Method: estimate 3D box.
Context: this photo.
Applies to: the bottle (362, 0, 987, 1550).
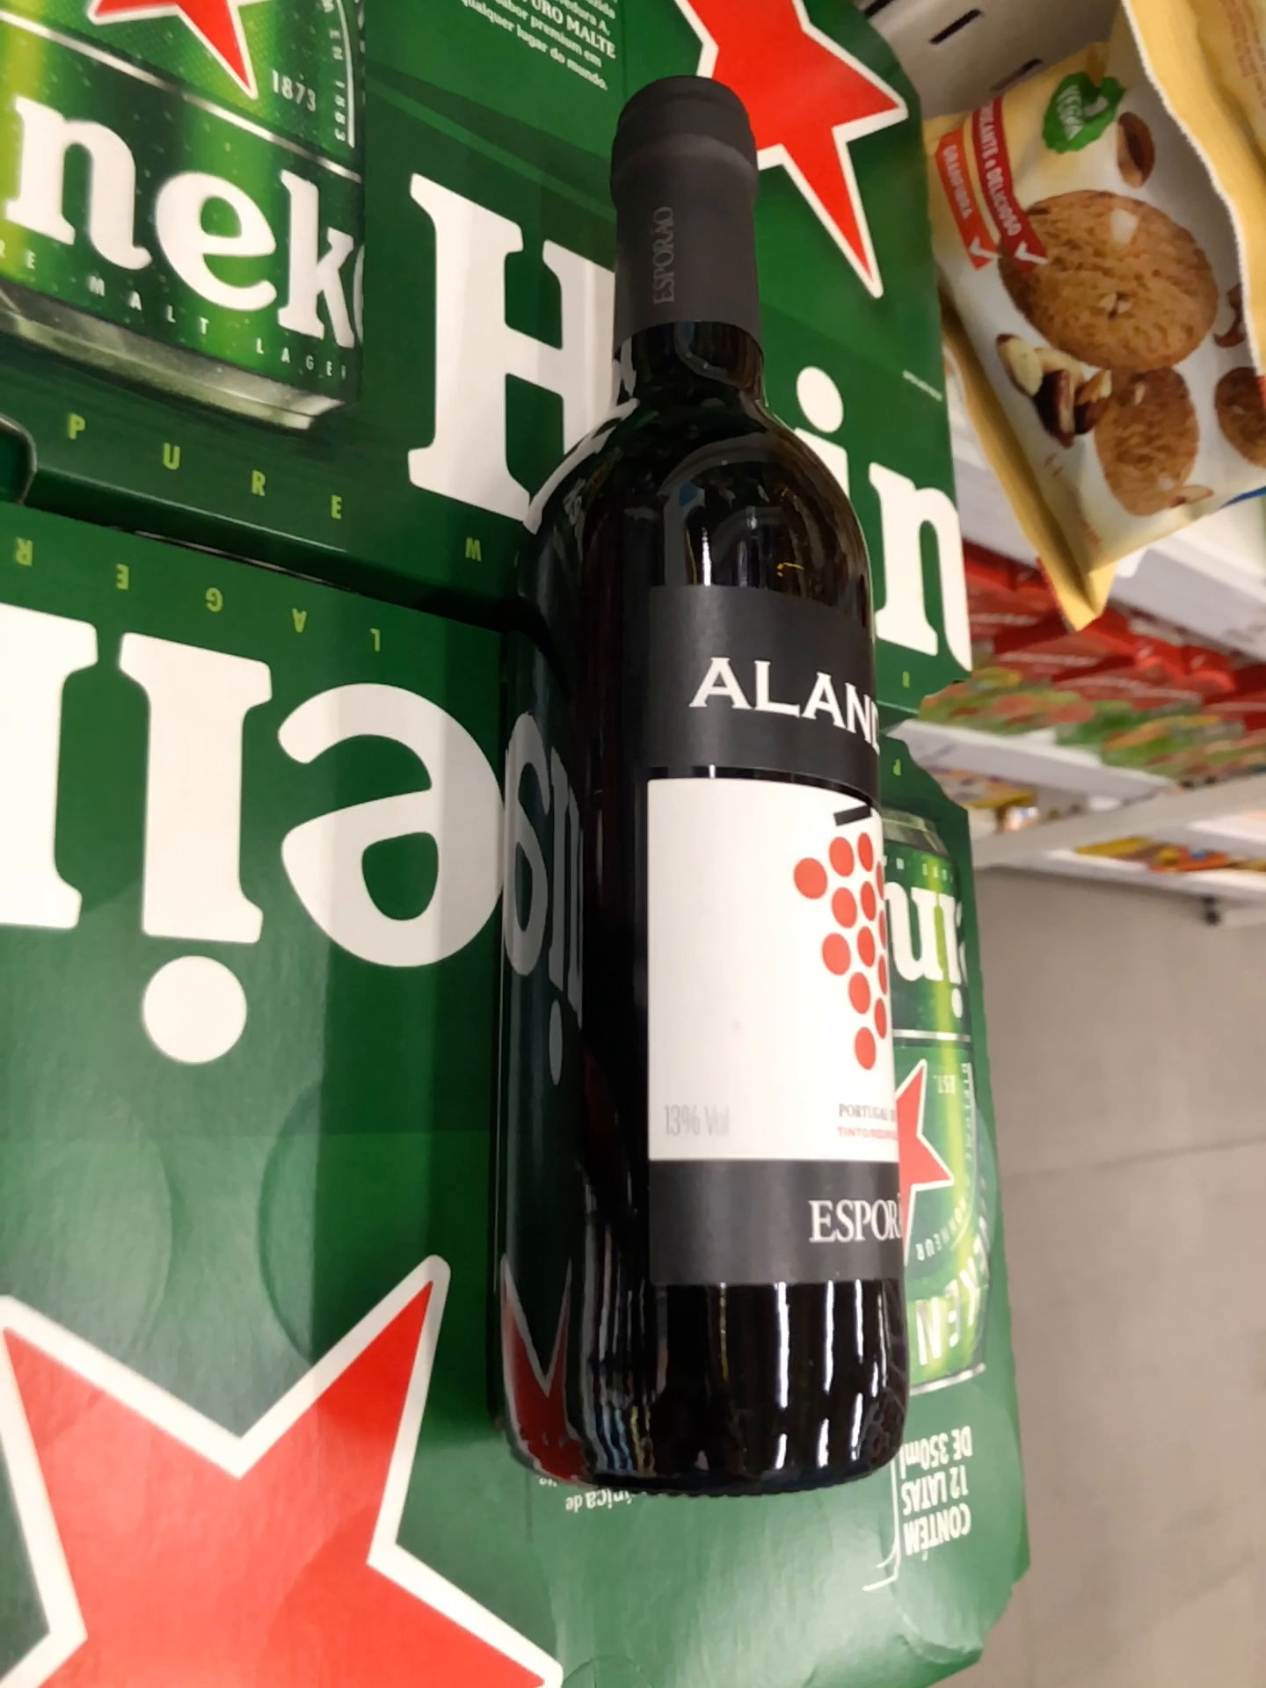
[{"bbox_3d":[0.002,-0.035,0.213,0.060,0.060,0.240,15,69,-53],"label":"bottle"}]
